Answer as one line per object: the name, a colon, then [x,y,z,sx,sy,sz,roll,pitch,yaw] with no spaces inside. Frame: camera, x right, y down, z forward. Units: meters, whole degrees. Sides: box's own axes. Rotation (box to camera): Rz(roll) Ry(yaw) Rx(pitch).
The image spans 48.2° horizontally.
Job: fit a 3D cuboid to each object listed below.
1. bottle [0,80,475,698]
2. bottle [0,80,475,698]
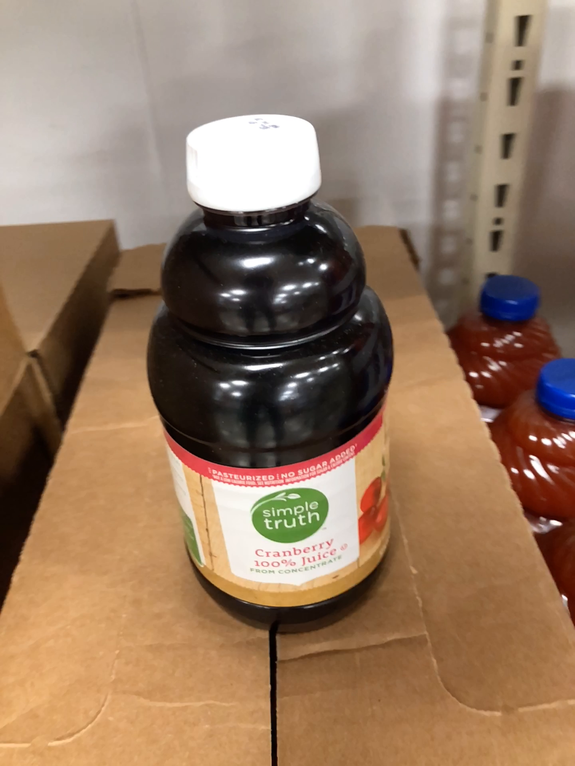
bottle: [-0.007,0.002,0.258,0.100,0.199,0.110,-3,37,3]
bottle: [-0.007,0.002,0.258,0.100,0.199,0.110,-3,37,3]
